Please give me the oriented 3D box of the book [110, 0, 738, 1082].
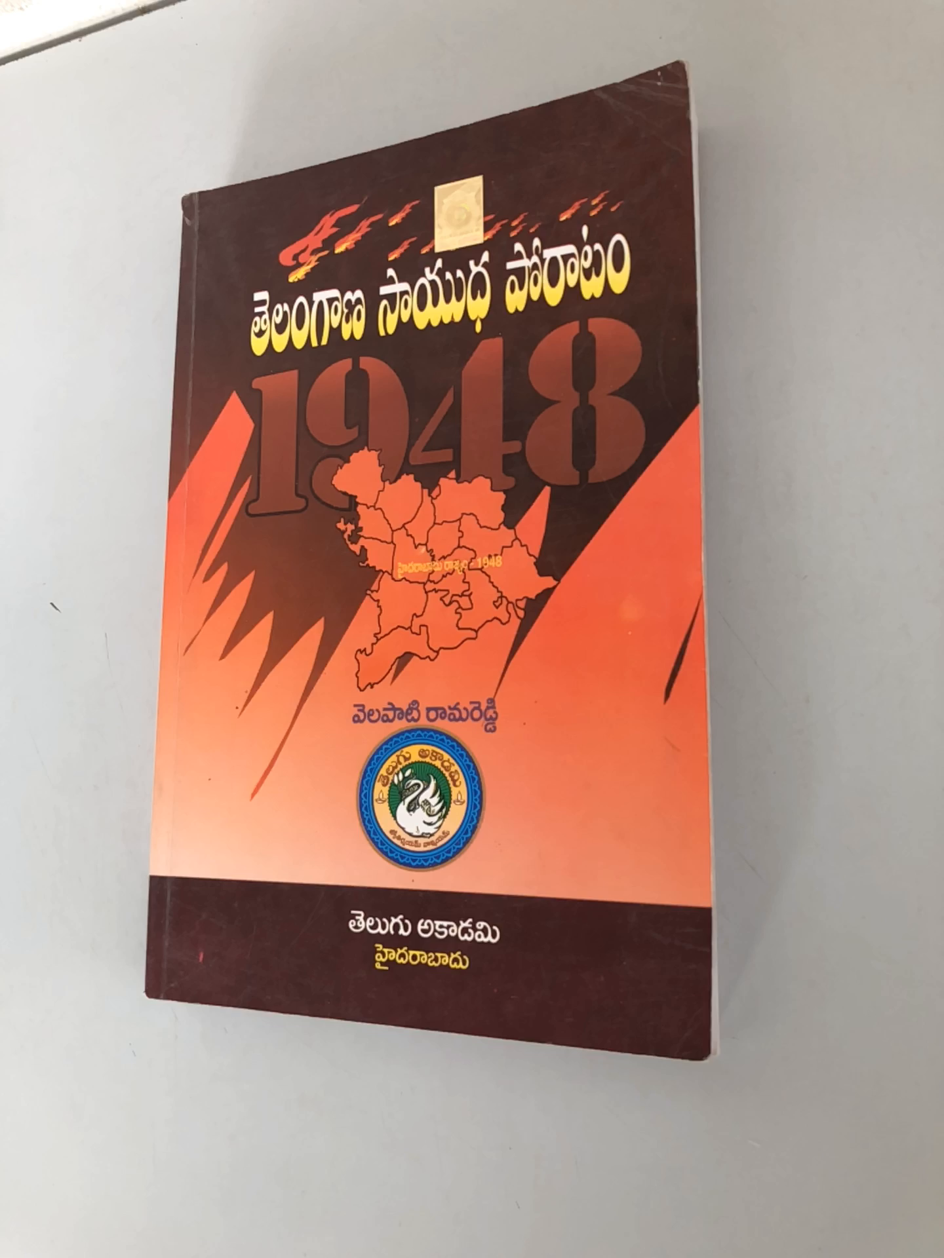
[{"bbox_3d":[-0.016,-0.027,0.299,0.170,0.030,0.270,-3,81,22],"label":"book"}]
